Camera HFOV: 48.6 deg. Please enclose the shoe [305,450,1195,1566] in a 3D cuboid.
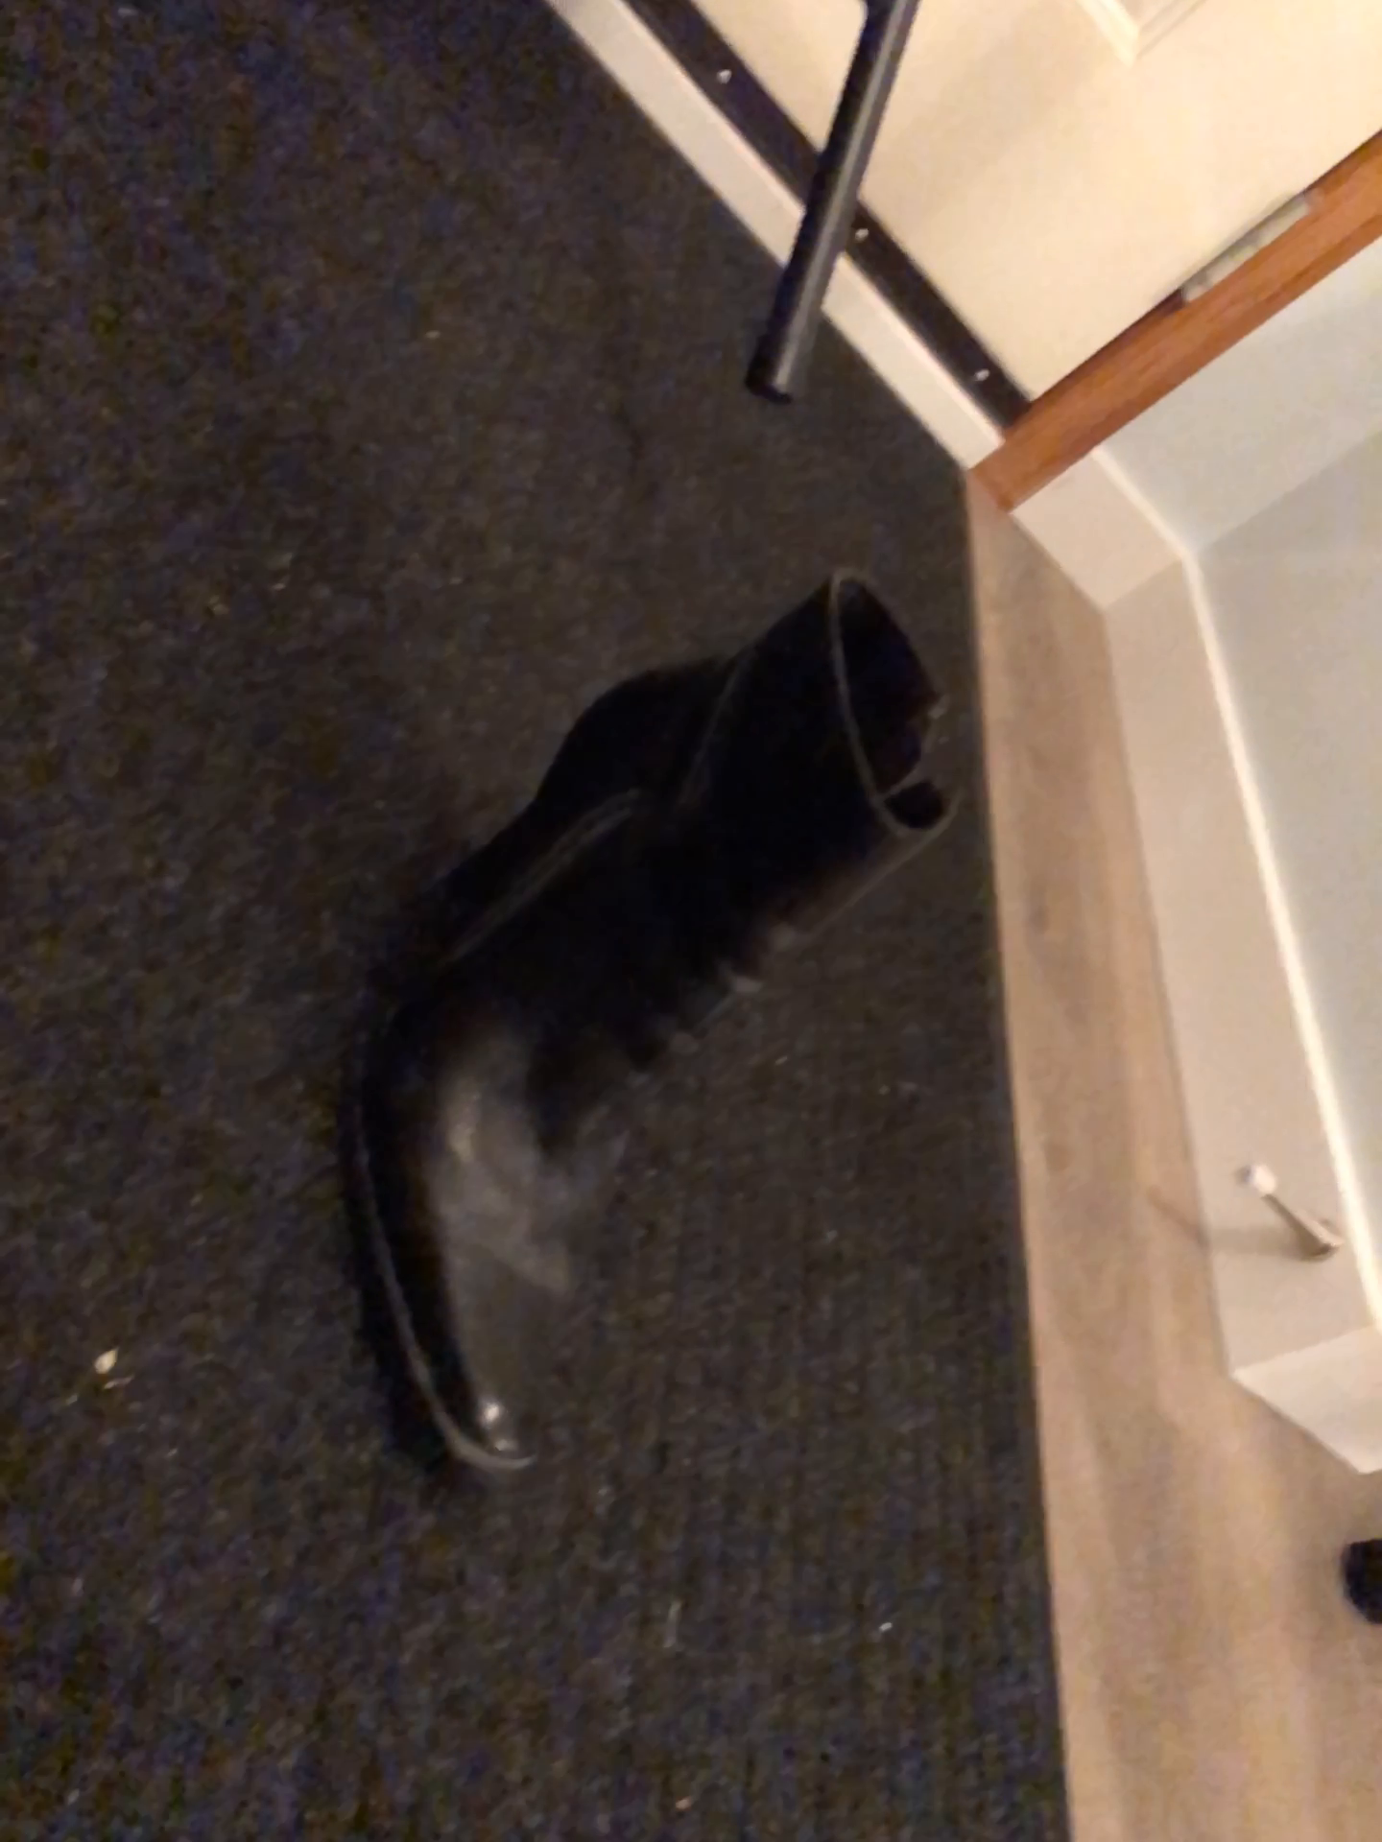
[{"bbox_3d":[-0.001,0.028,0.442,0.090,0.209,0.240,30,40,-36],"label":"shoe"}]
